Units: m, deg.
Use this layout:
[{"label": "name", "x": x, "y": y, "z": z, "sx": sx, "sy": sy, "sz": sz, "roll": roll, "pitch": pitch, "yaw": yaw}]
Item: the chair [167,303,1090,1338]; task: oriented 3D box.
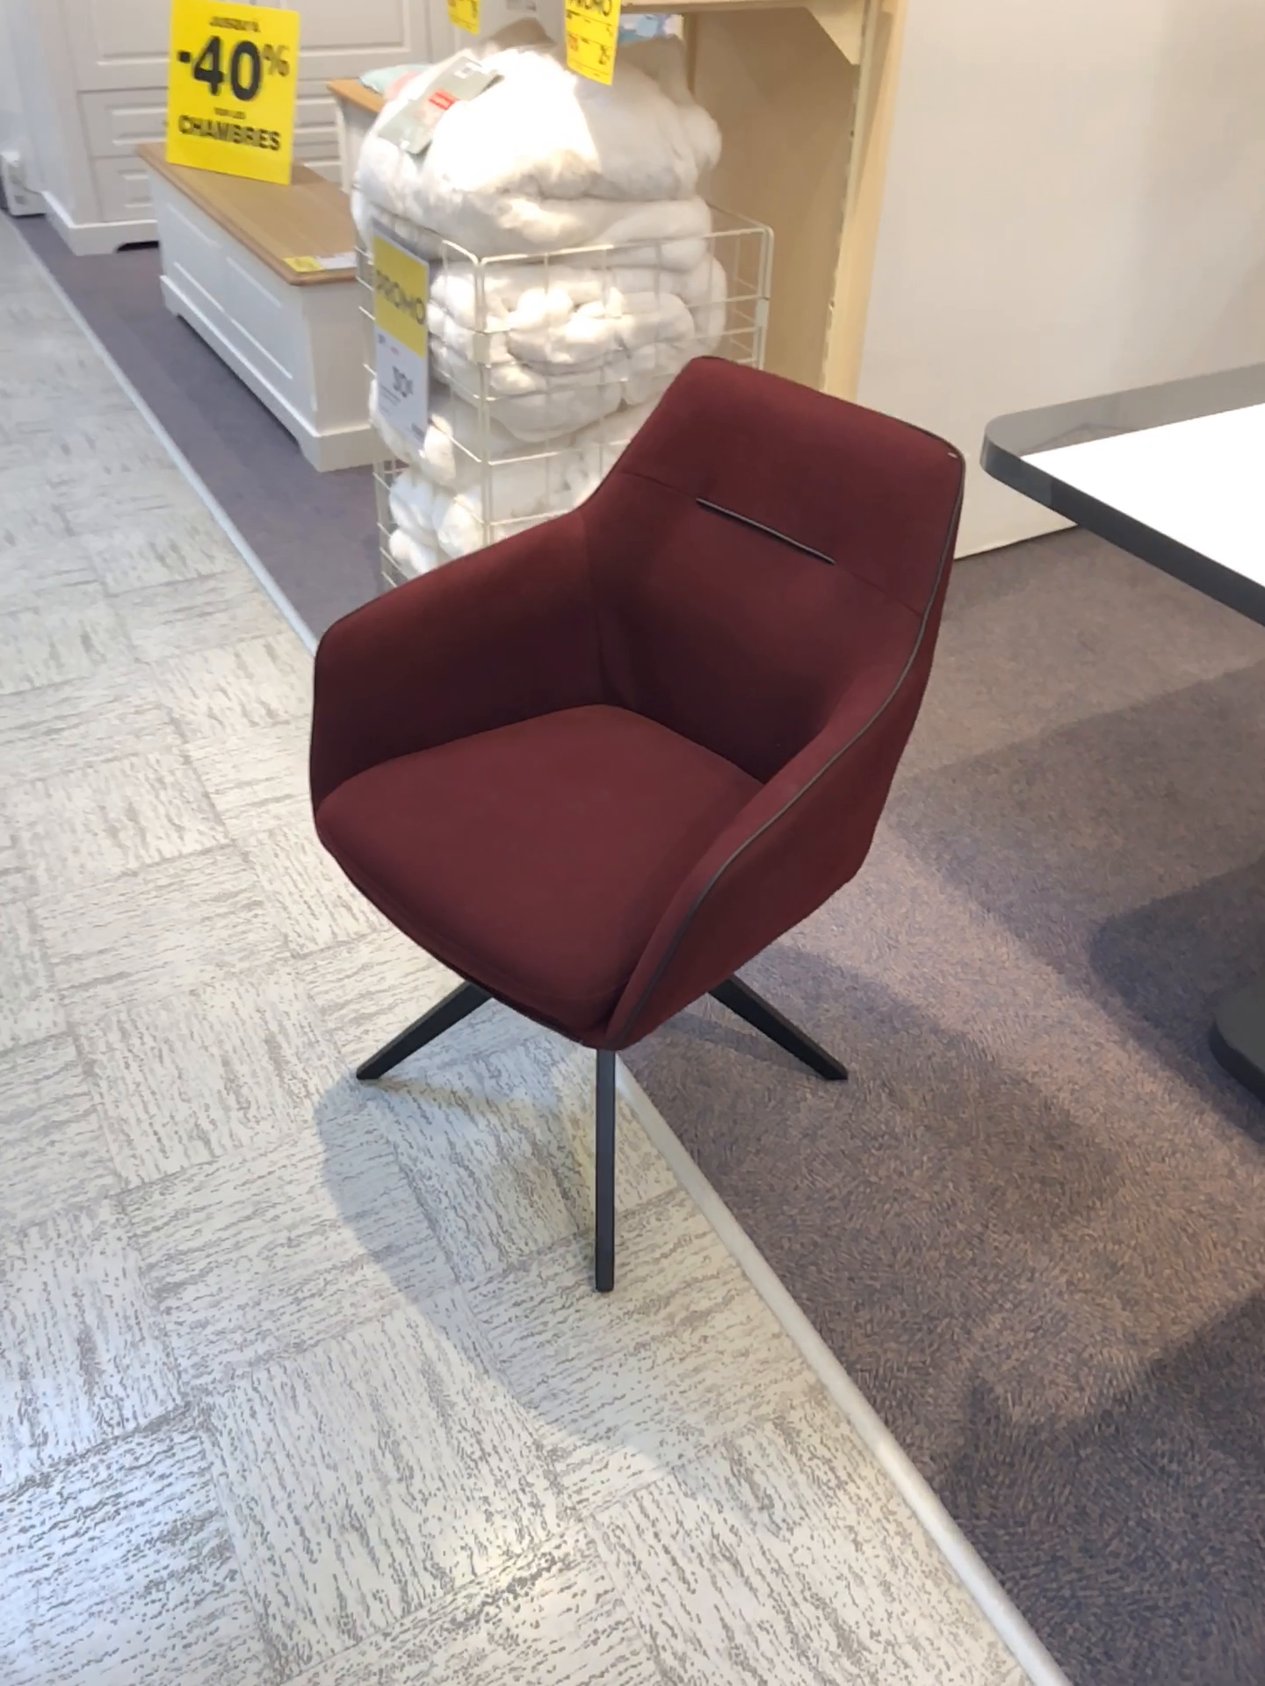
[{"label": "chair", "x": -0.013, "y": -0.062, "z": 1.439, "sx": 0.573, "sy": 0.735, "sz": 0.581, "roll": -30, "pitch": 48, "yaw": -35}]
